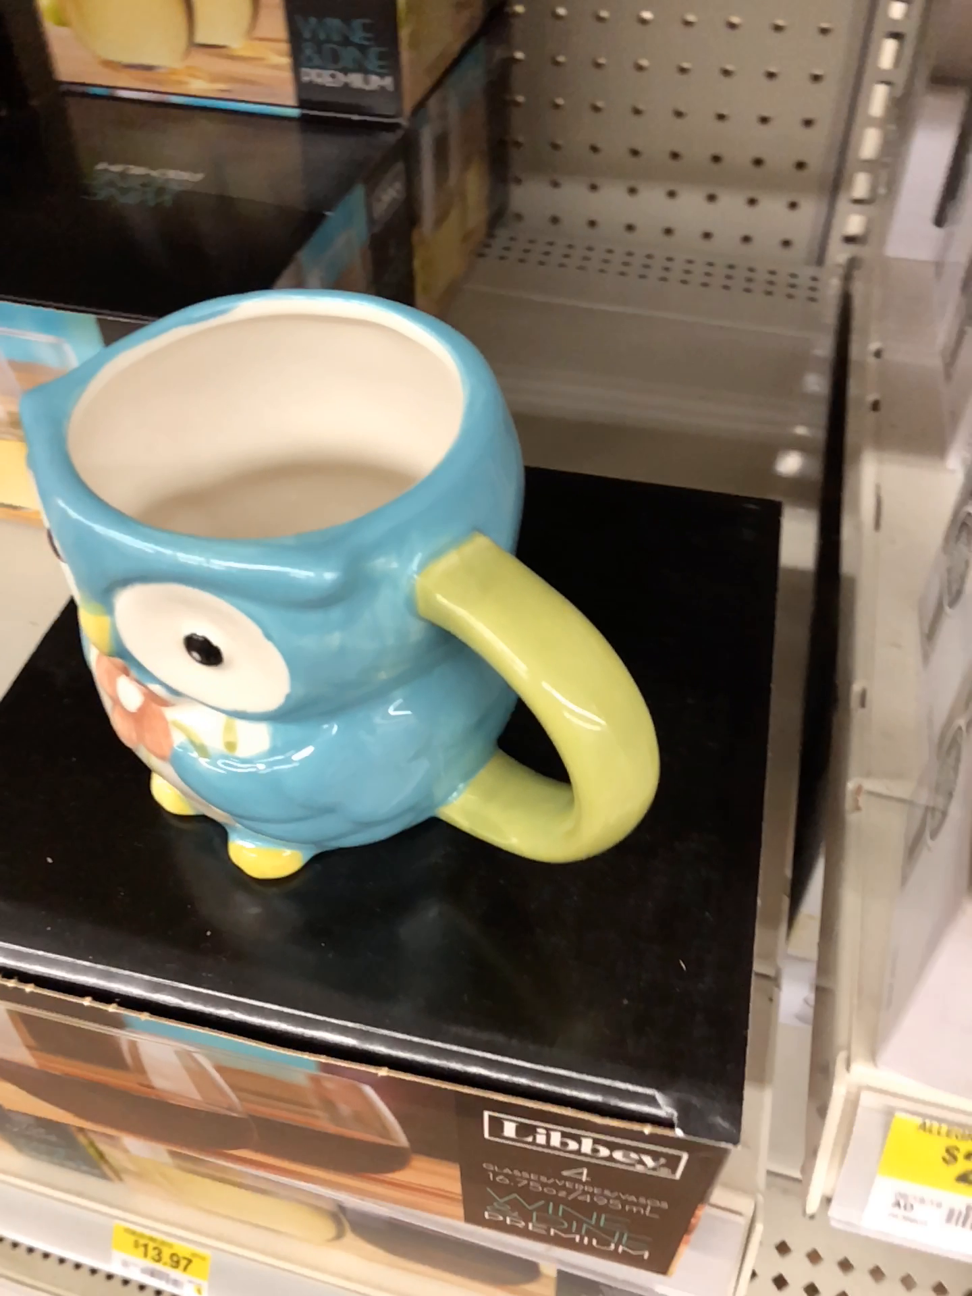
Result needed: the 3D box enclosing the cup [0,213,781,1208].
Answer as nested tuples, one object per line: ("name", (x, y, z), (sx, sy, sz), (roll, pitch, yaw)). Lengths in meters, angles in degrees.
("cup", (-0.036, 0.004, 0.214), (0.090, 0.110, 0.140), (-34, 54, -26))
